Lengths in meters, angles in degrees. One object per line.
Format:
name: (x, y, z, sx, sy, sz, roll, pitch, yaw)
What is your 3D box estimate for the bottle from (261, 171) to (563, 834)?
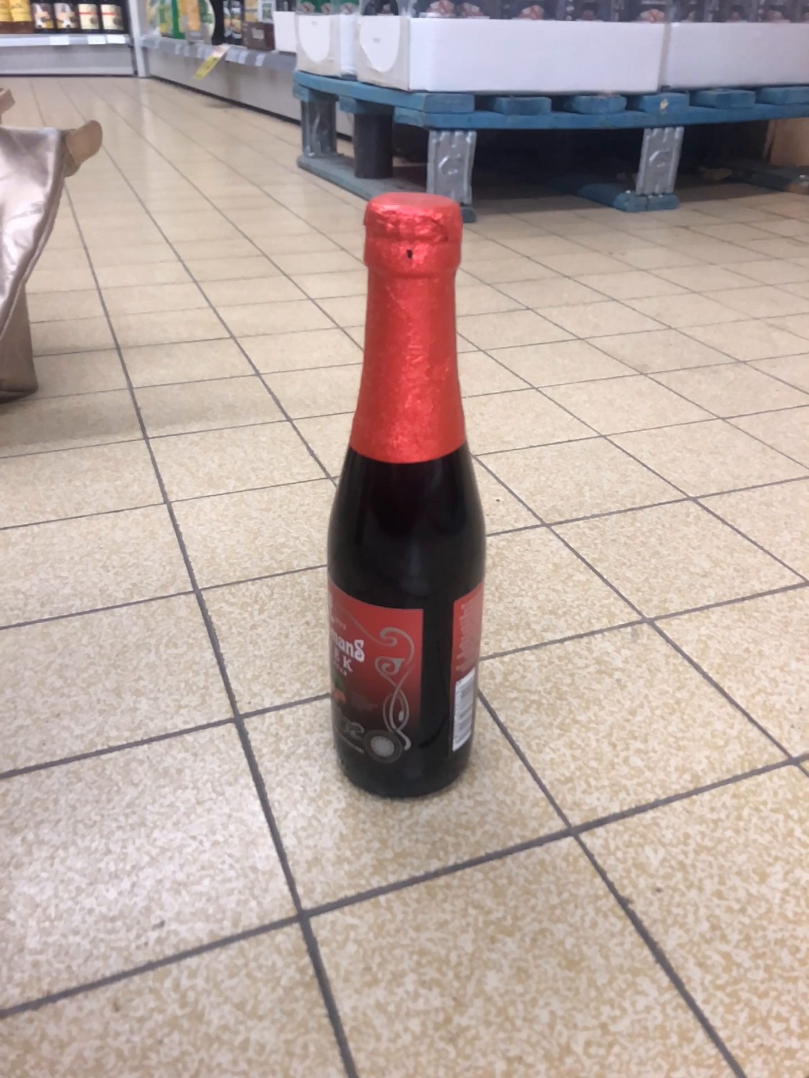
bottle: (-0.002, -0.007, 0.287, 0.060, 0.199, 0.060, 1, 29, -1)
